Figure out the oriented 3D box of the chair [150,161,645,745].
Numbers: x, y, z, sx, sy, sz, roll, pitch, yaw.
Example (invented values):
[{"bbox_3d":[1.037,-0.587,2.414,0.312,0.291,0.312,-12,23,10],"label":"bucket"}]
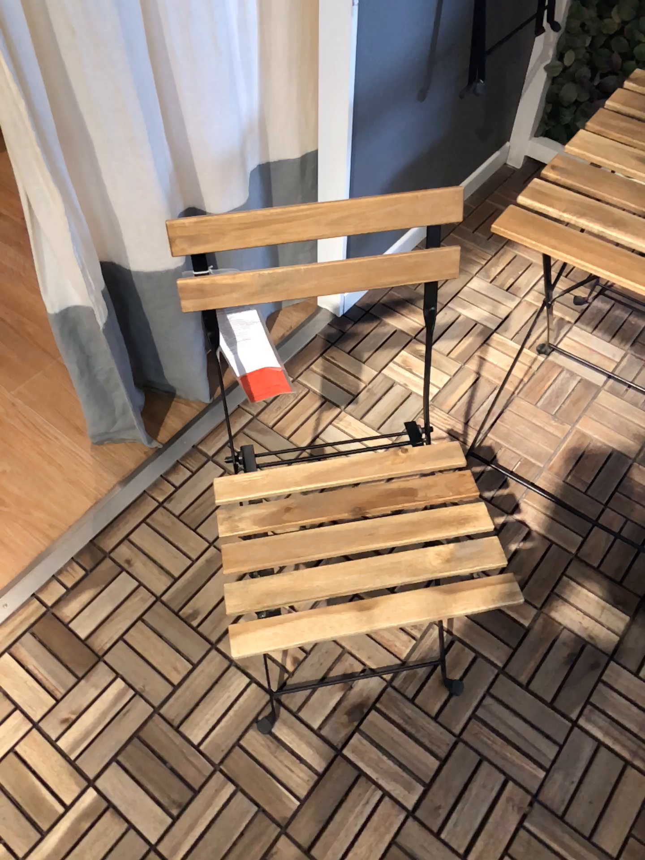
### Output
[{"bbox_3d":[0.052,0.092,0.994,0.430,0.726,0.432,-8,55,-7],"label":"chair"}]
